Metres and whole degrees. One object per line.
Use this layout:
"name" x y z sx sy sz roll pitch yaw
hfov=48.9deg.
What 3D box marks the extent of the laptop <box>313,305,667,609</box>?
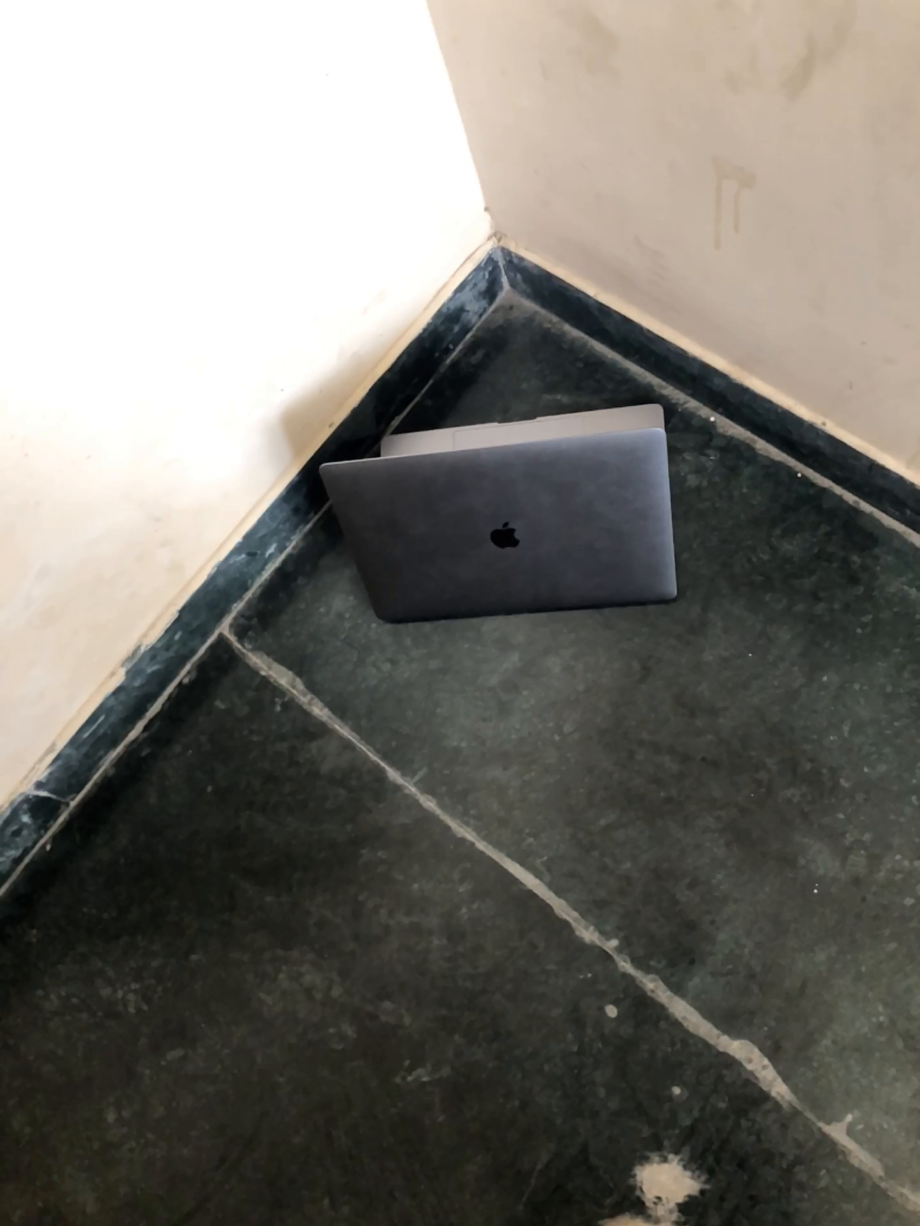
"laptop" 0.039 -0.148 1.060 0.329 0.199 0.221 -3 72 15
